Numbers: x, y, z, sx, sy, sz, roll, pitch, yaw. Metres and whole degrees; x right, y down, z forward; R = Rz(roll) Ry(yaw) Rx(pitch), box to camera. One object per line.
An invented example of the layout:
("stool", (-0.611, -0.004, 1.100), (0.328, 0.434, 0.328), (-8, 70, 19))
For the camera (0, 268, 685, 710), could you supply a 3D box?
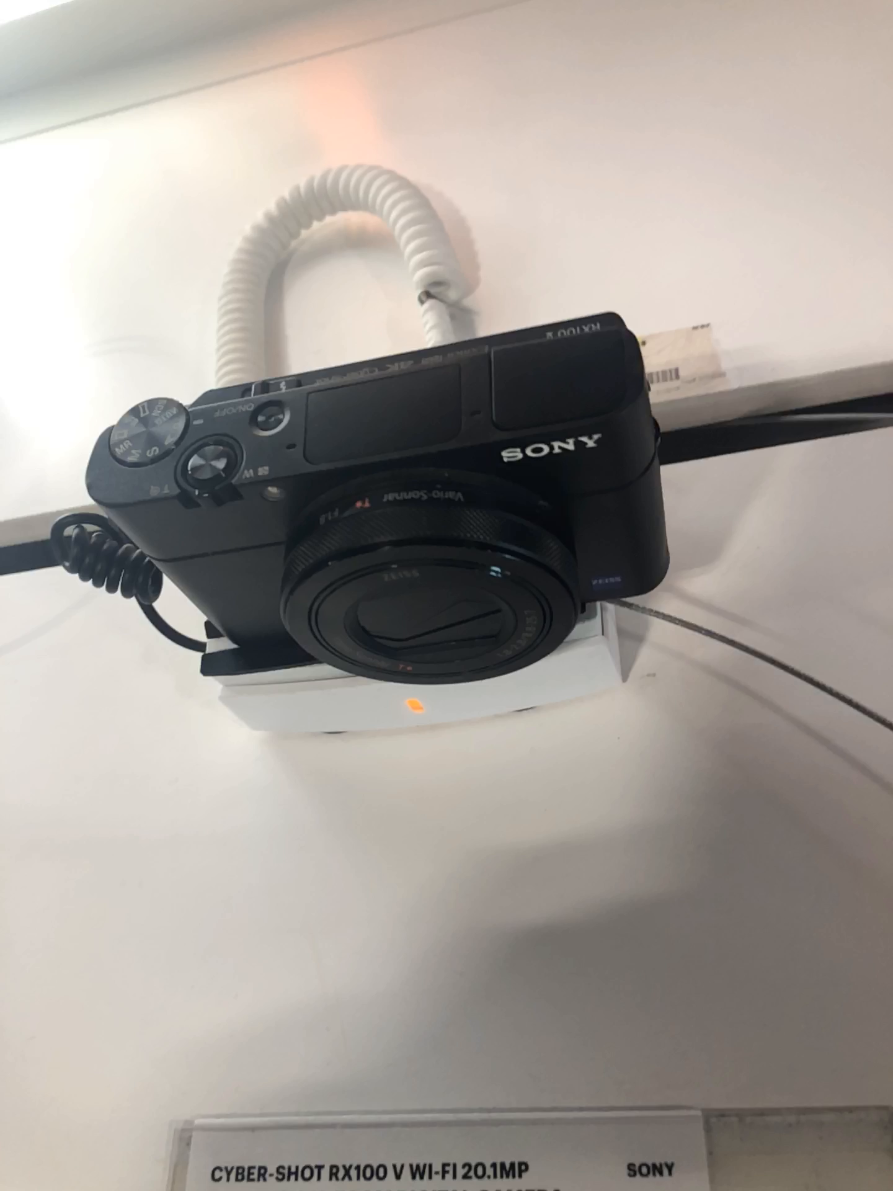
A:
("camera", (-0.013, -0.012, 0.178), (0.101, 0.063, 0.032), (-8, 58, 14))
